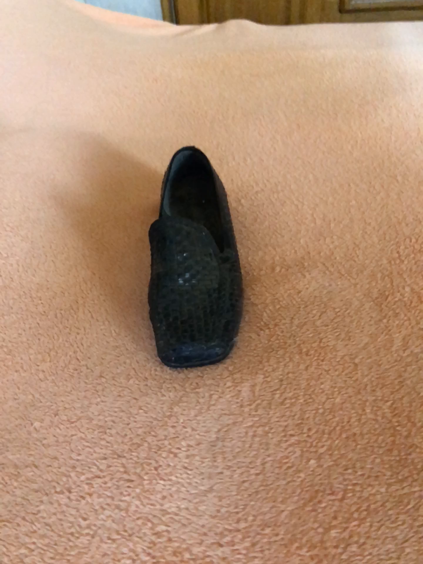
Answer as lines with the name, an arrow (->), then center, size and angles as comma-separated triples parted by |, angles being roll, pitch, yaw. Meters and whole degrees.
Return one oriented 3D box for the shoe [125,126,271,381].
shoe -> -0.010, -0.047, 0.456 | 0.100, 0.089, 0.272 | -5, 41, 2
